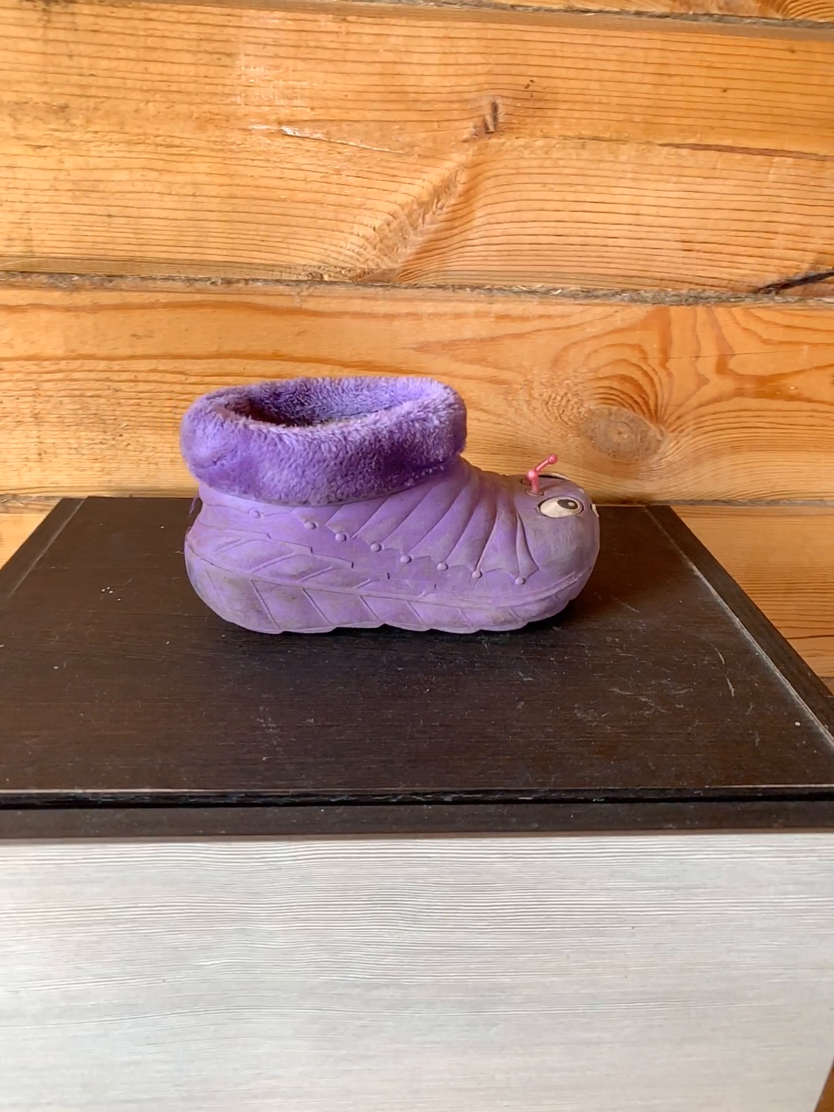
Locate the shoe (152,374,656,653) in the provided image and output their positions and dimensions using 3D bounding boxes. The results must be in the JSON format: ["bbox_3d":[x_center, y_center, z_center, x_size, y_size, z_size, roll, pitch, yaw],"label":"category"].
[{"bbox_3d":[-0.009,-0.024,0.398,0.200,0.099,0.091,-1,23,-7],"label":"shoe"}]
